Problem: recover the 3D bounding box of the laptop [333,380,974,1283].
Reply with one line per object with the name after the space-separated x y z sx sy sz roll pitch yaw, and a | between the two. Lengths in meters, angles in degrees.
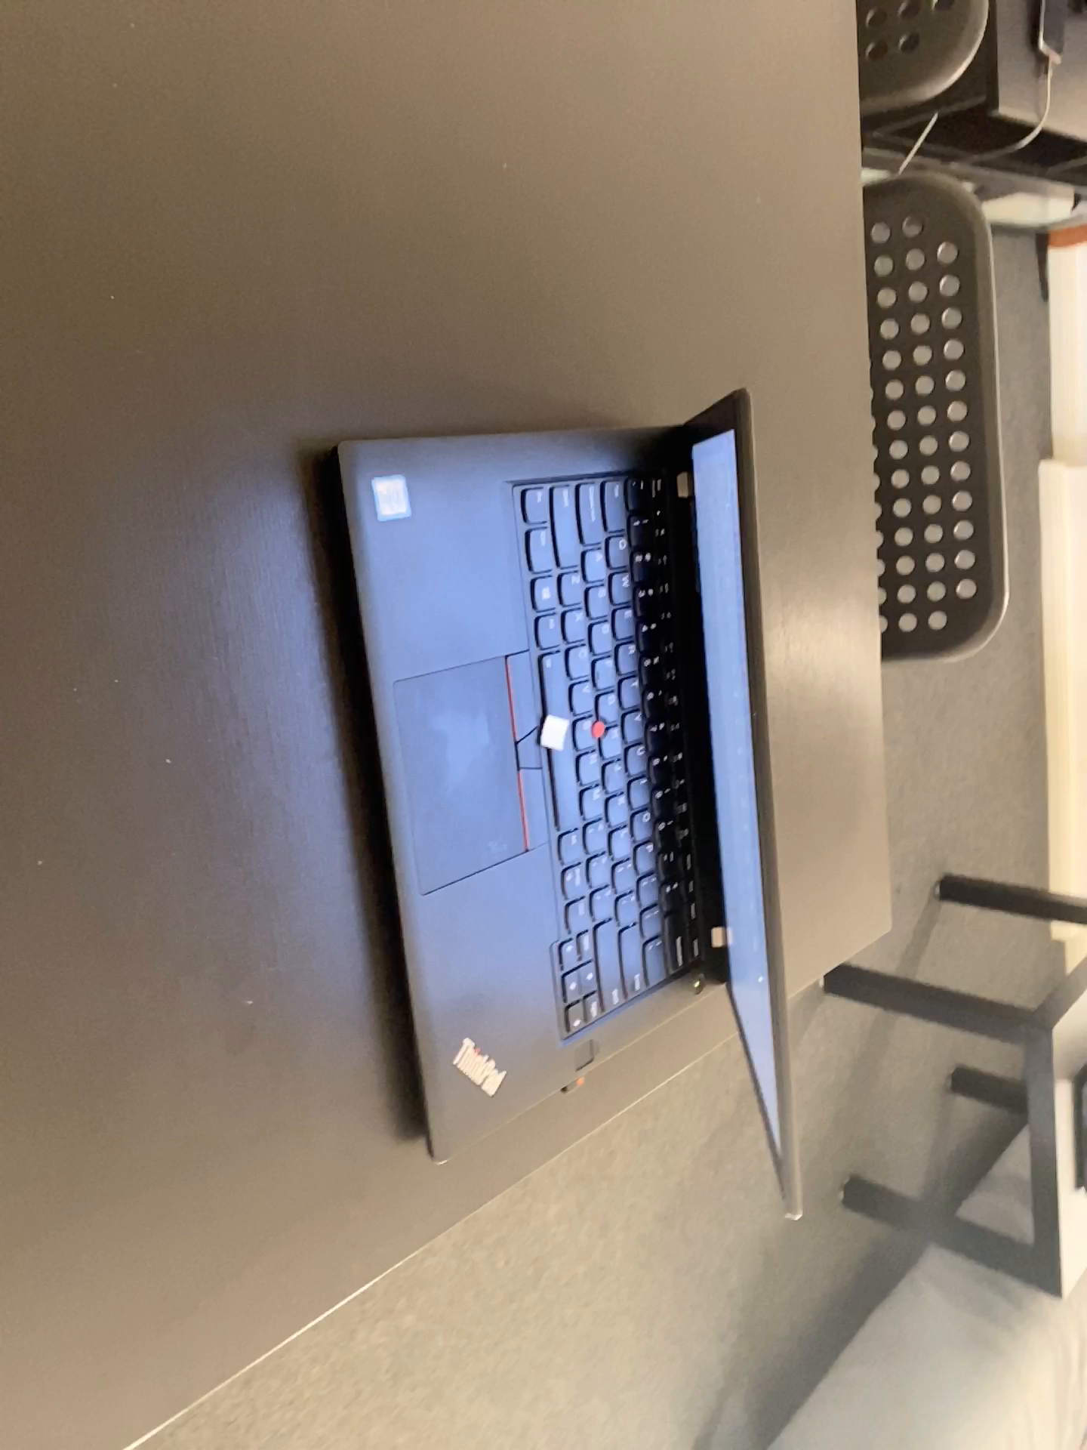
0.064 0.020 0.477 0.217 0.138 0.299 -19 107 -42 | laptop
